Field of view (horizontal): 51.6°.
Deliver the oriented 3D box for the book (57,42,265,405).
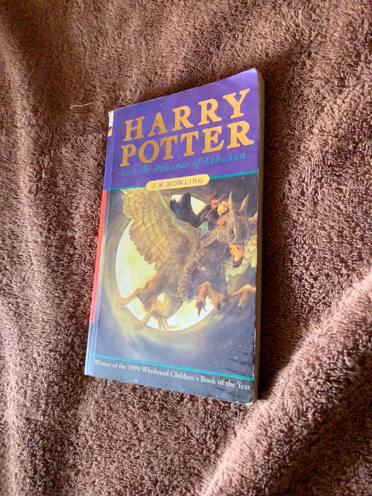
[{"bbox_3d":[-0.020,-0.013,0.230,0.130,0.020,0.180,-2,84,30],"label":"book"}]
